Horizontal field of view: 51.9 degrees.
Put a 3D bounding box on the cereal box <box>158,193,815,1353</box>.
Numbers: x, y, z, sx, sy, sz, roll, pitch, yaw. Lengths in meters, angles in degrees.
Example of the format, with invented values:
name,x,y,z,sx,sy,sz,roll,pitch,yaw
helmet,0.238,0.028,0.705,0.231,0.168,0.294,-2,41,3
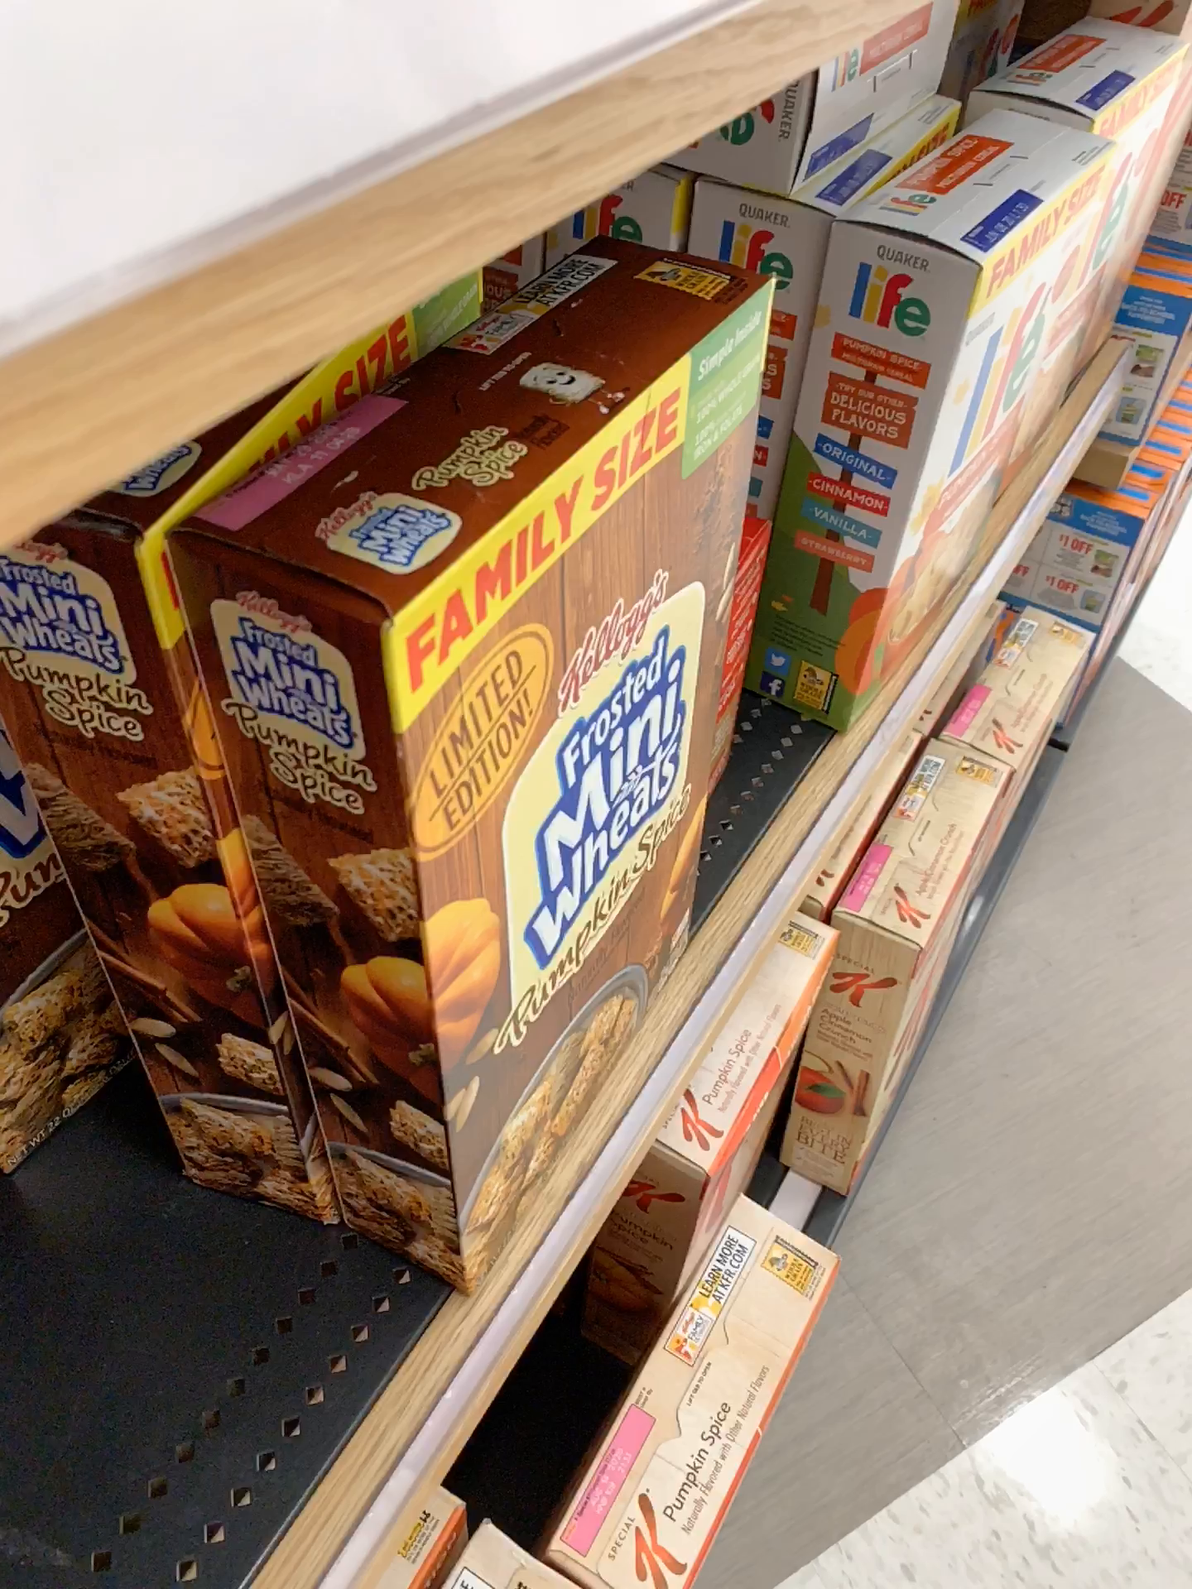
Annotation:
name,x,y,z,sx,sy,sz,roll,pitch,yaw
cereal box,-0.012,0.011,0.382,0.050,0.309,0.201,21,48,19
